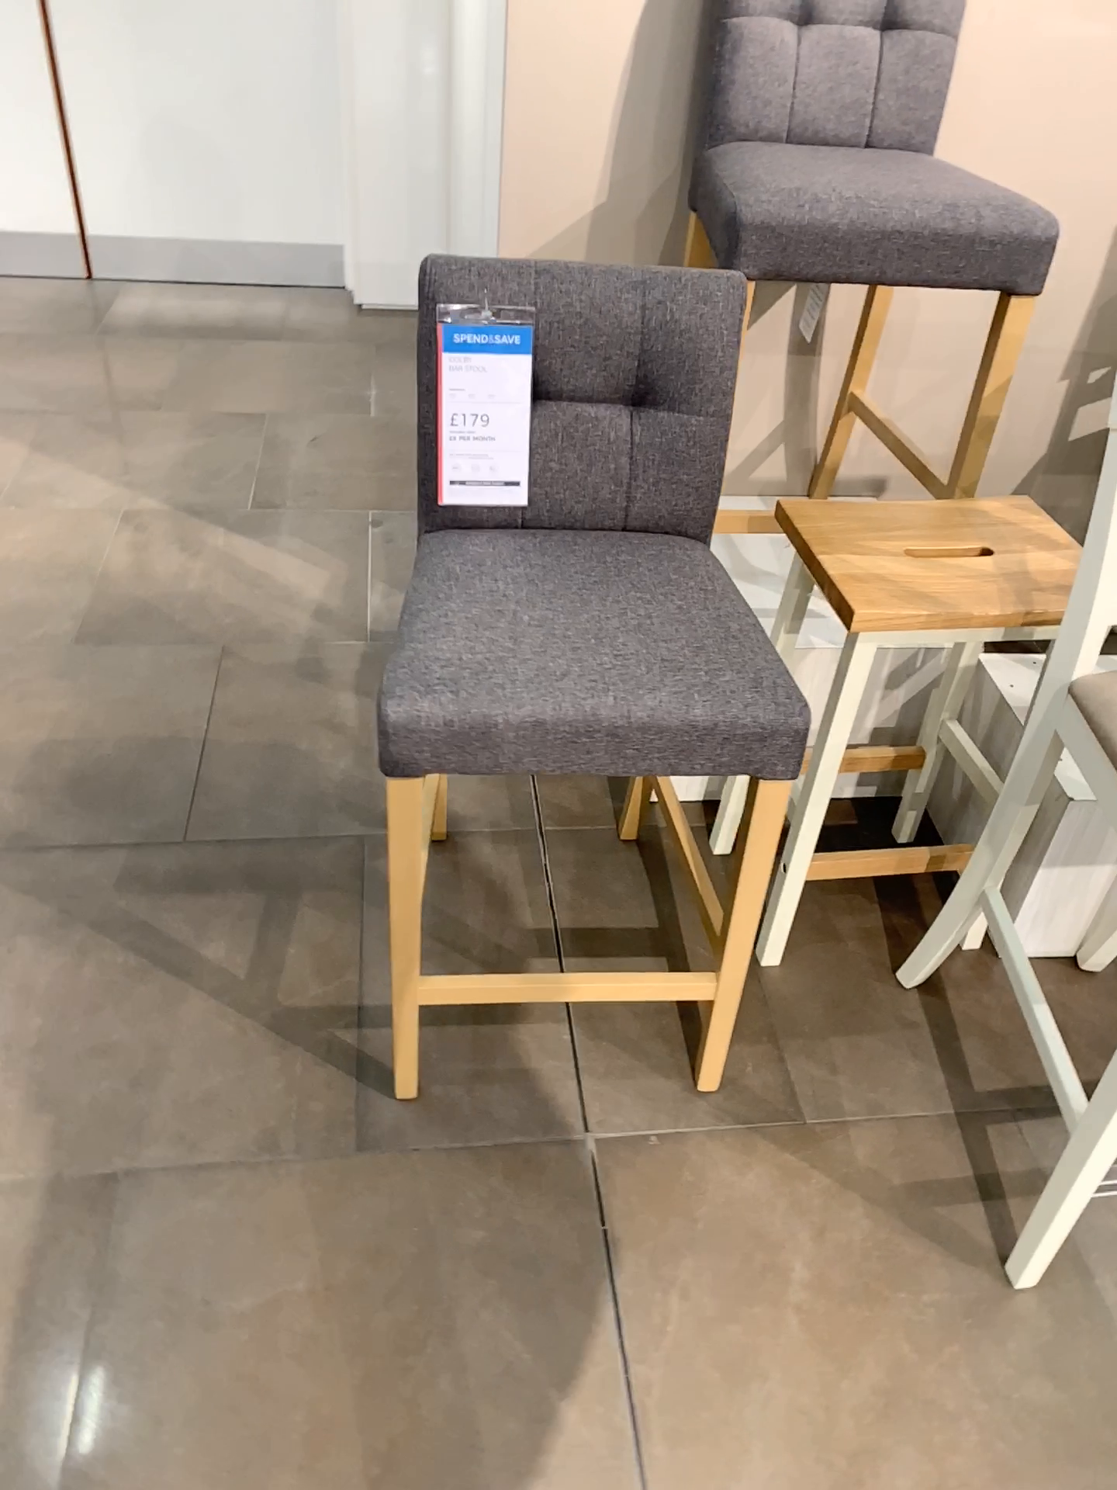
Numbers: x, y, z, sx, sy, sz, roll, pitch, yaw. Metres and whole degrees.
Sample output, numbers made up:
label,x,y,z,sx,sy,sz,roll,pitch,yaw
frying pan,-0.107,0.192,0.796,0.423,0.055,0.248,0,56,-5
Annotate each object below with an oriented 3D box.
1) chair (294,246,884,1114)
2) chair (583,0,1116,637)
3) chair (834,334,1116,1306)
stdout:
label,x,y,z,sx,sy,sz,roll,pitch,yaw
chair,-0.025,-0.055,1.403,0.486,0.908,0.523,0,37,-7
chair,0.381,-0.704,1.736,0.546,0.918,0.543,-1,37,-8
chair,0.725,0.112,1.252,0.506,0.938,0.503,-1,37,-8
